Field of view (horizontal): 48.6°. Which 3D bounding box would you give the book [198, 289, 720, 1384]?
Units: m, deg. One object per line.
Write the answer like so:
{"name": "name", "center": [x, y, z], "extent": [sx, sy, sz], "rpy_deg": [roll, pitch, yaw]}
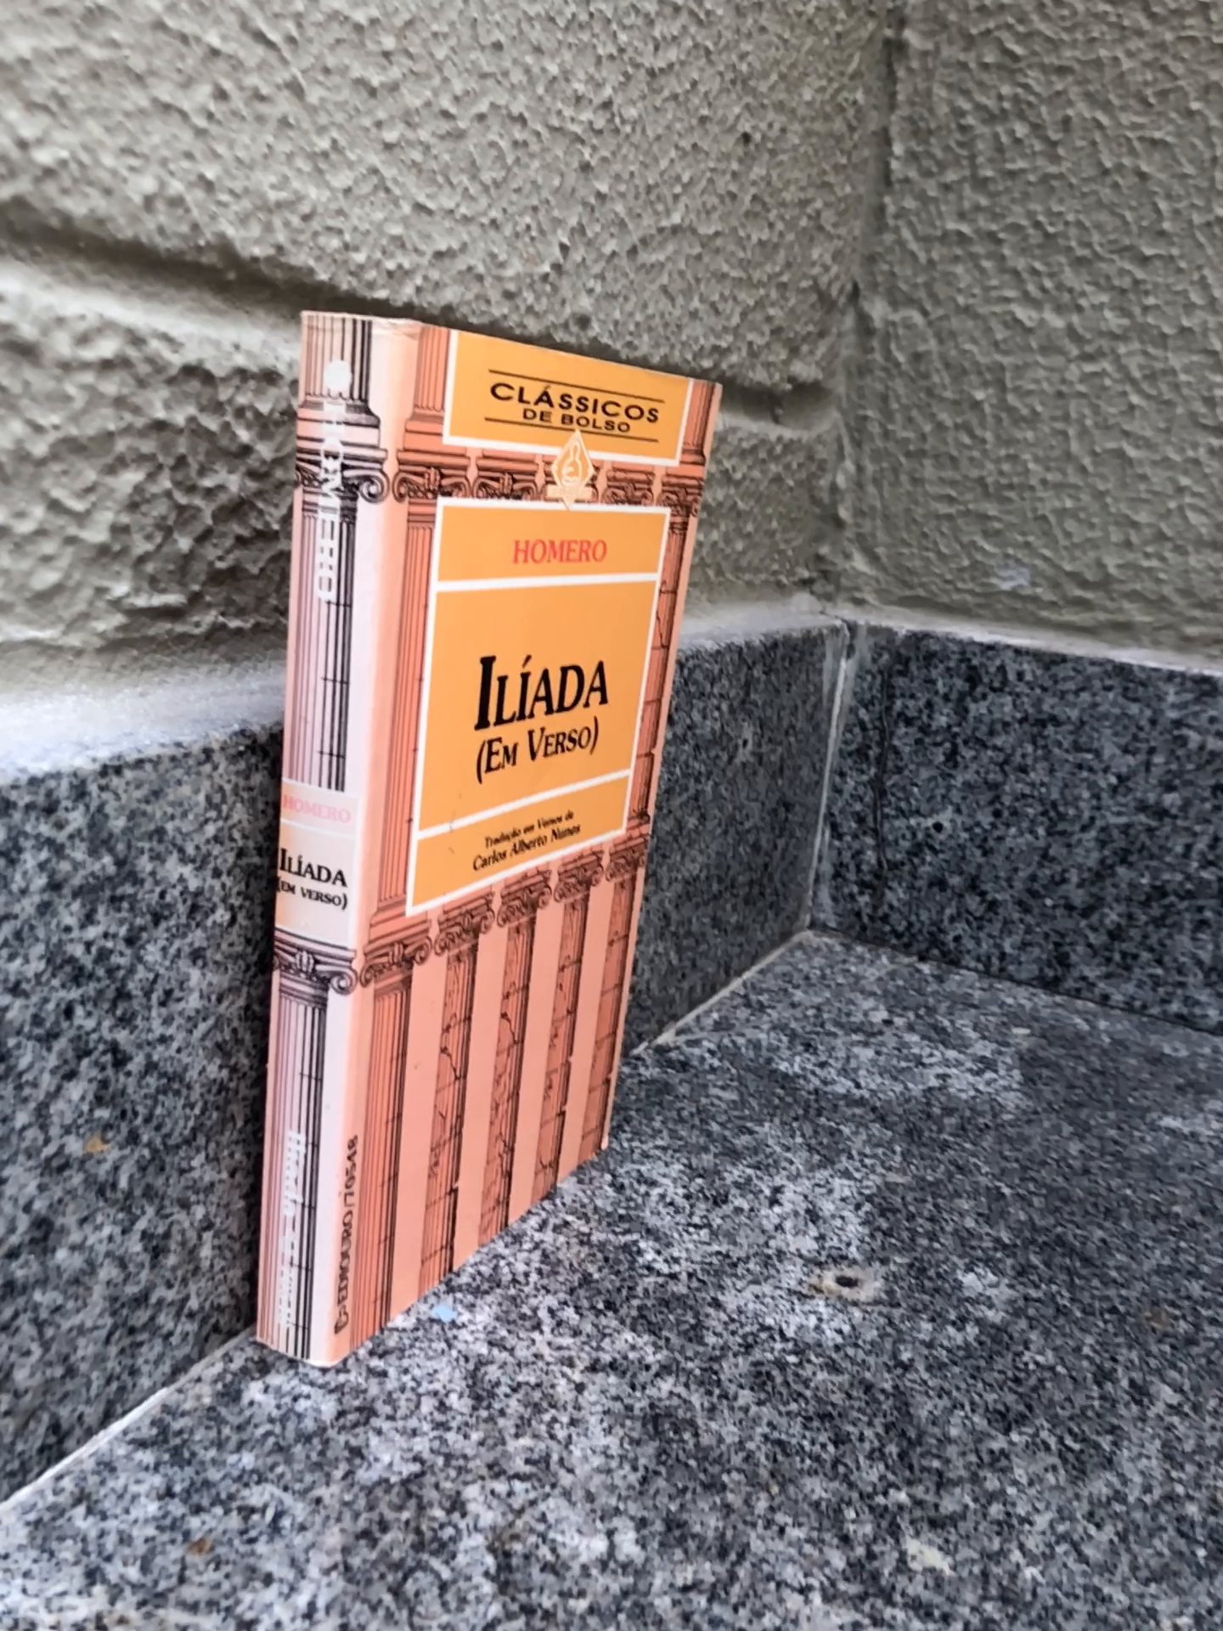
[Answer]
{"name": "book", "center": [-0.032, 0.000, 0.328], "extent": [0.030, 0.219, 0.140], "rpy_deg": [15, 17, 26]}
